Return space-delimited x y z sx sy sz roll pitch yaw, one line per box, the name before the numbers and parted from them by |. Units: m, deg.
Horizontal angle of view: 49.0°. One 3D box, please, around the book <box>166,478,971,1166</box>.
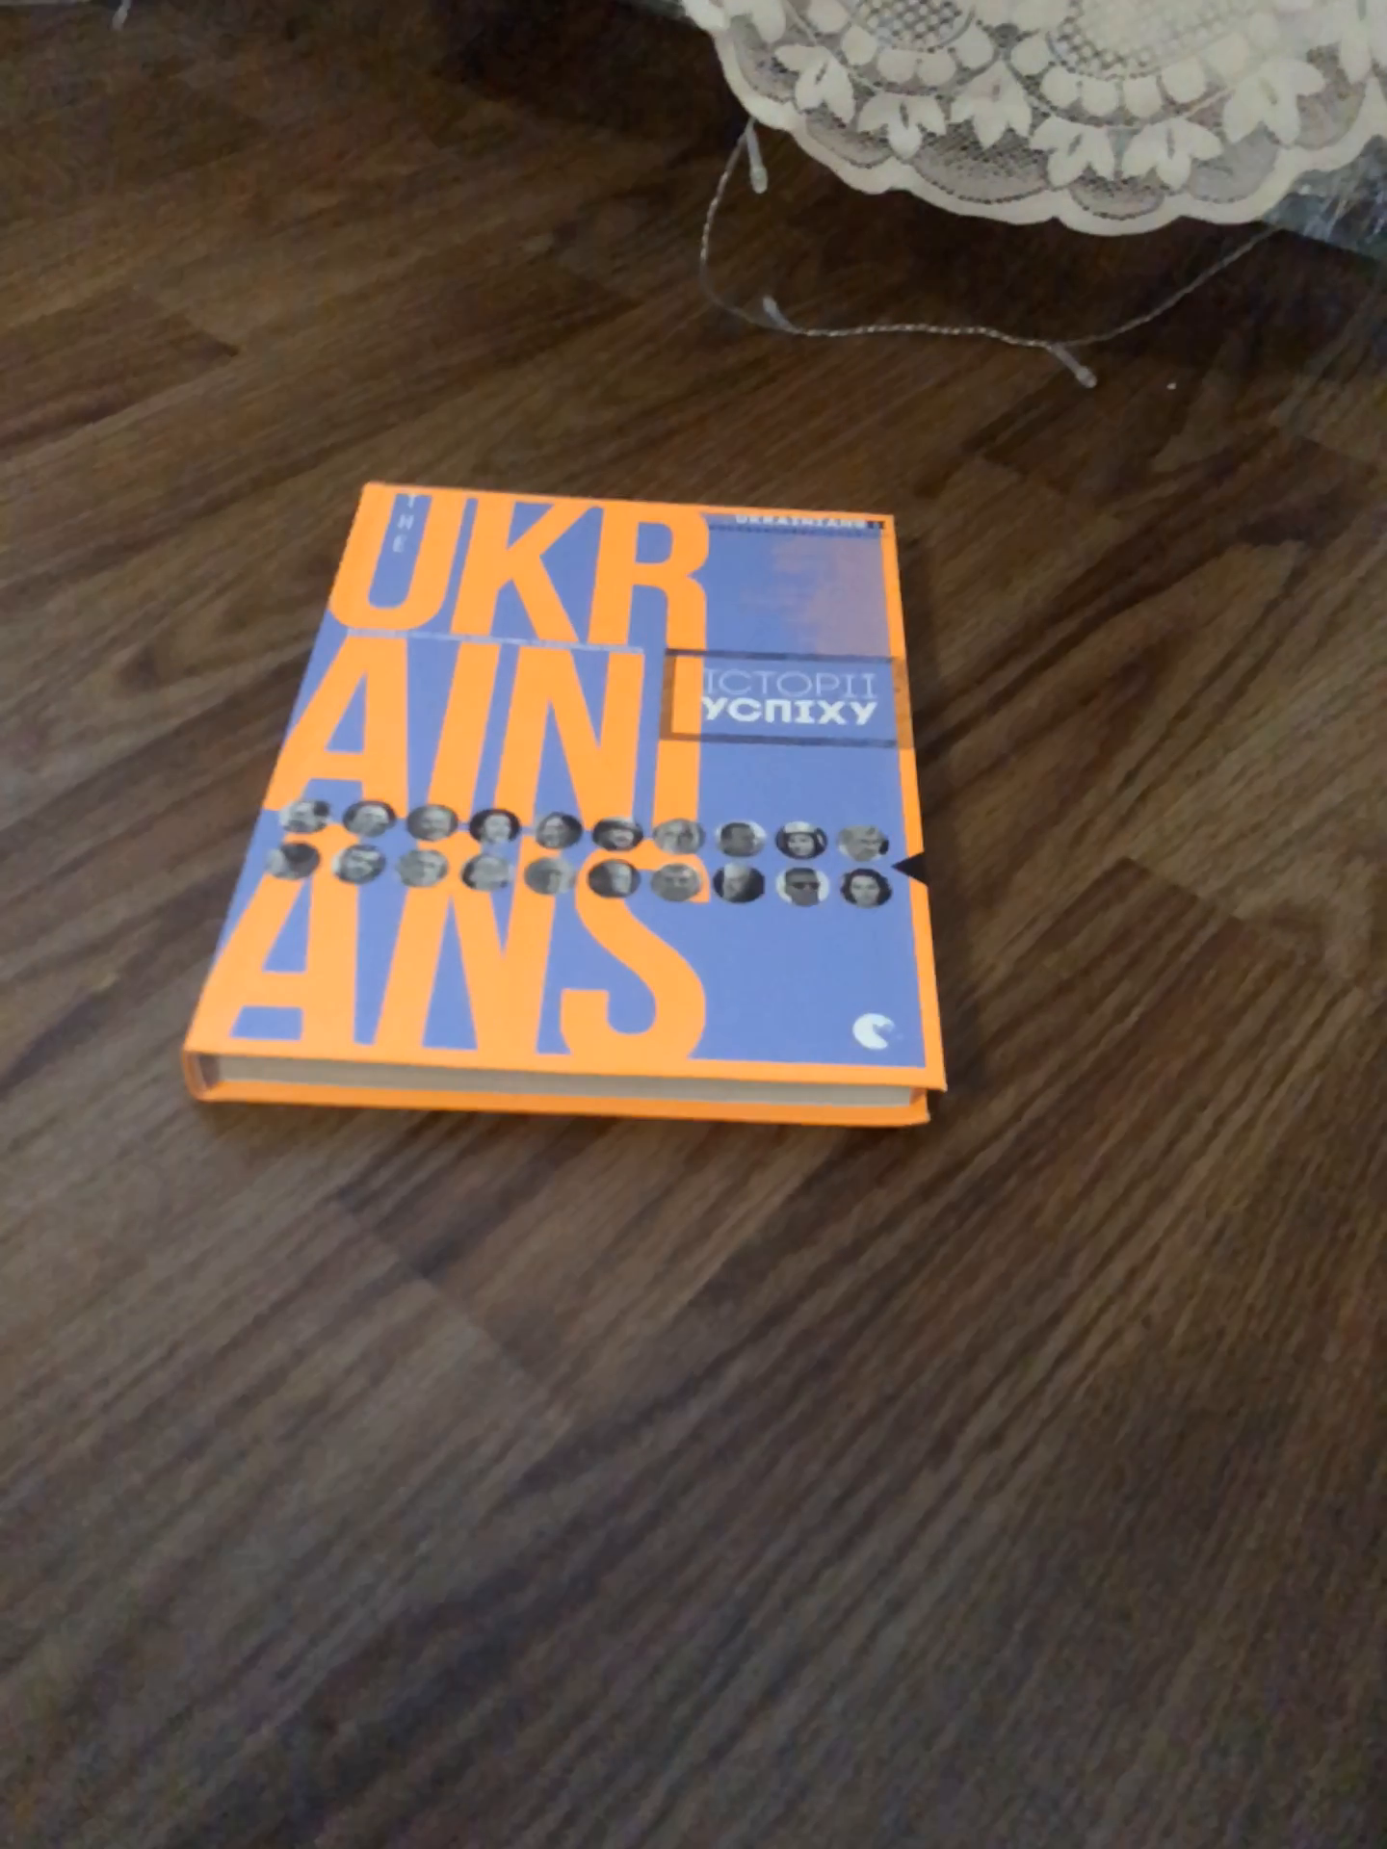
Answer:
book | -0.023 -0.040 0.391 0.164 0.020 0.217 4 48 -2
